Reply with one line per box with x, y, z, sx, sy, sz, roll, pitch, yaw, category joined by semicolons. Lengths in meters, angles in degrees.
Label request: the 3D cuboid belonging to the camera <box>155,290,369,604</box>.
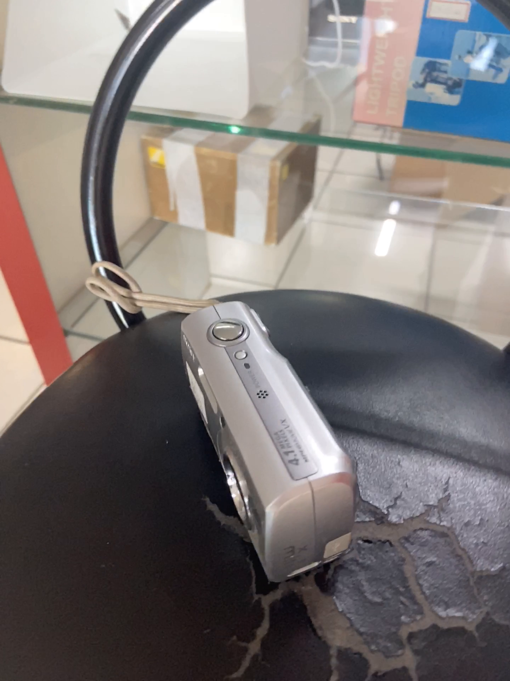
-0.003;0.033;0.201;0.040;0.050;0.100;-14;43;-16;camera
